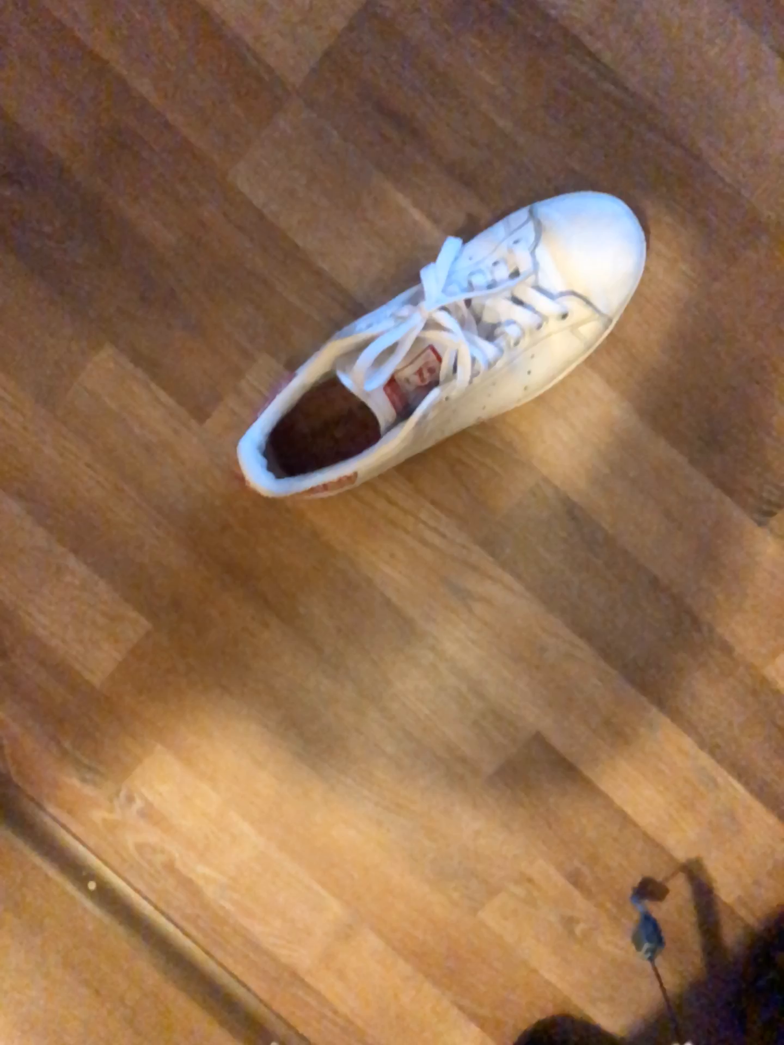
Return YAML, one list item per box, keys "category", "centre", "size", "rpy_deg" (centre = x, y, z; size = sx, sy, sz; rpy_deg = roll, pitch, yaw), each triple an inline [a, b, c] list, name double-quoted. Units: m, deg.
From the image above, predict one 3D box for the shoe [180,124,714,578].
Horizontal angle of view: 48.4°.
- category: "shoe"
  centre: [0.027, -0.087, 0.486]
  size: [0.250, 0.110, 0.100]
  rpy_deg: [-32, 95, 11]
